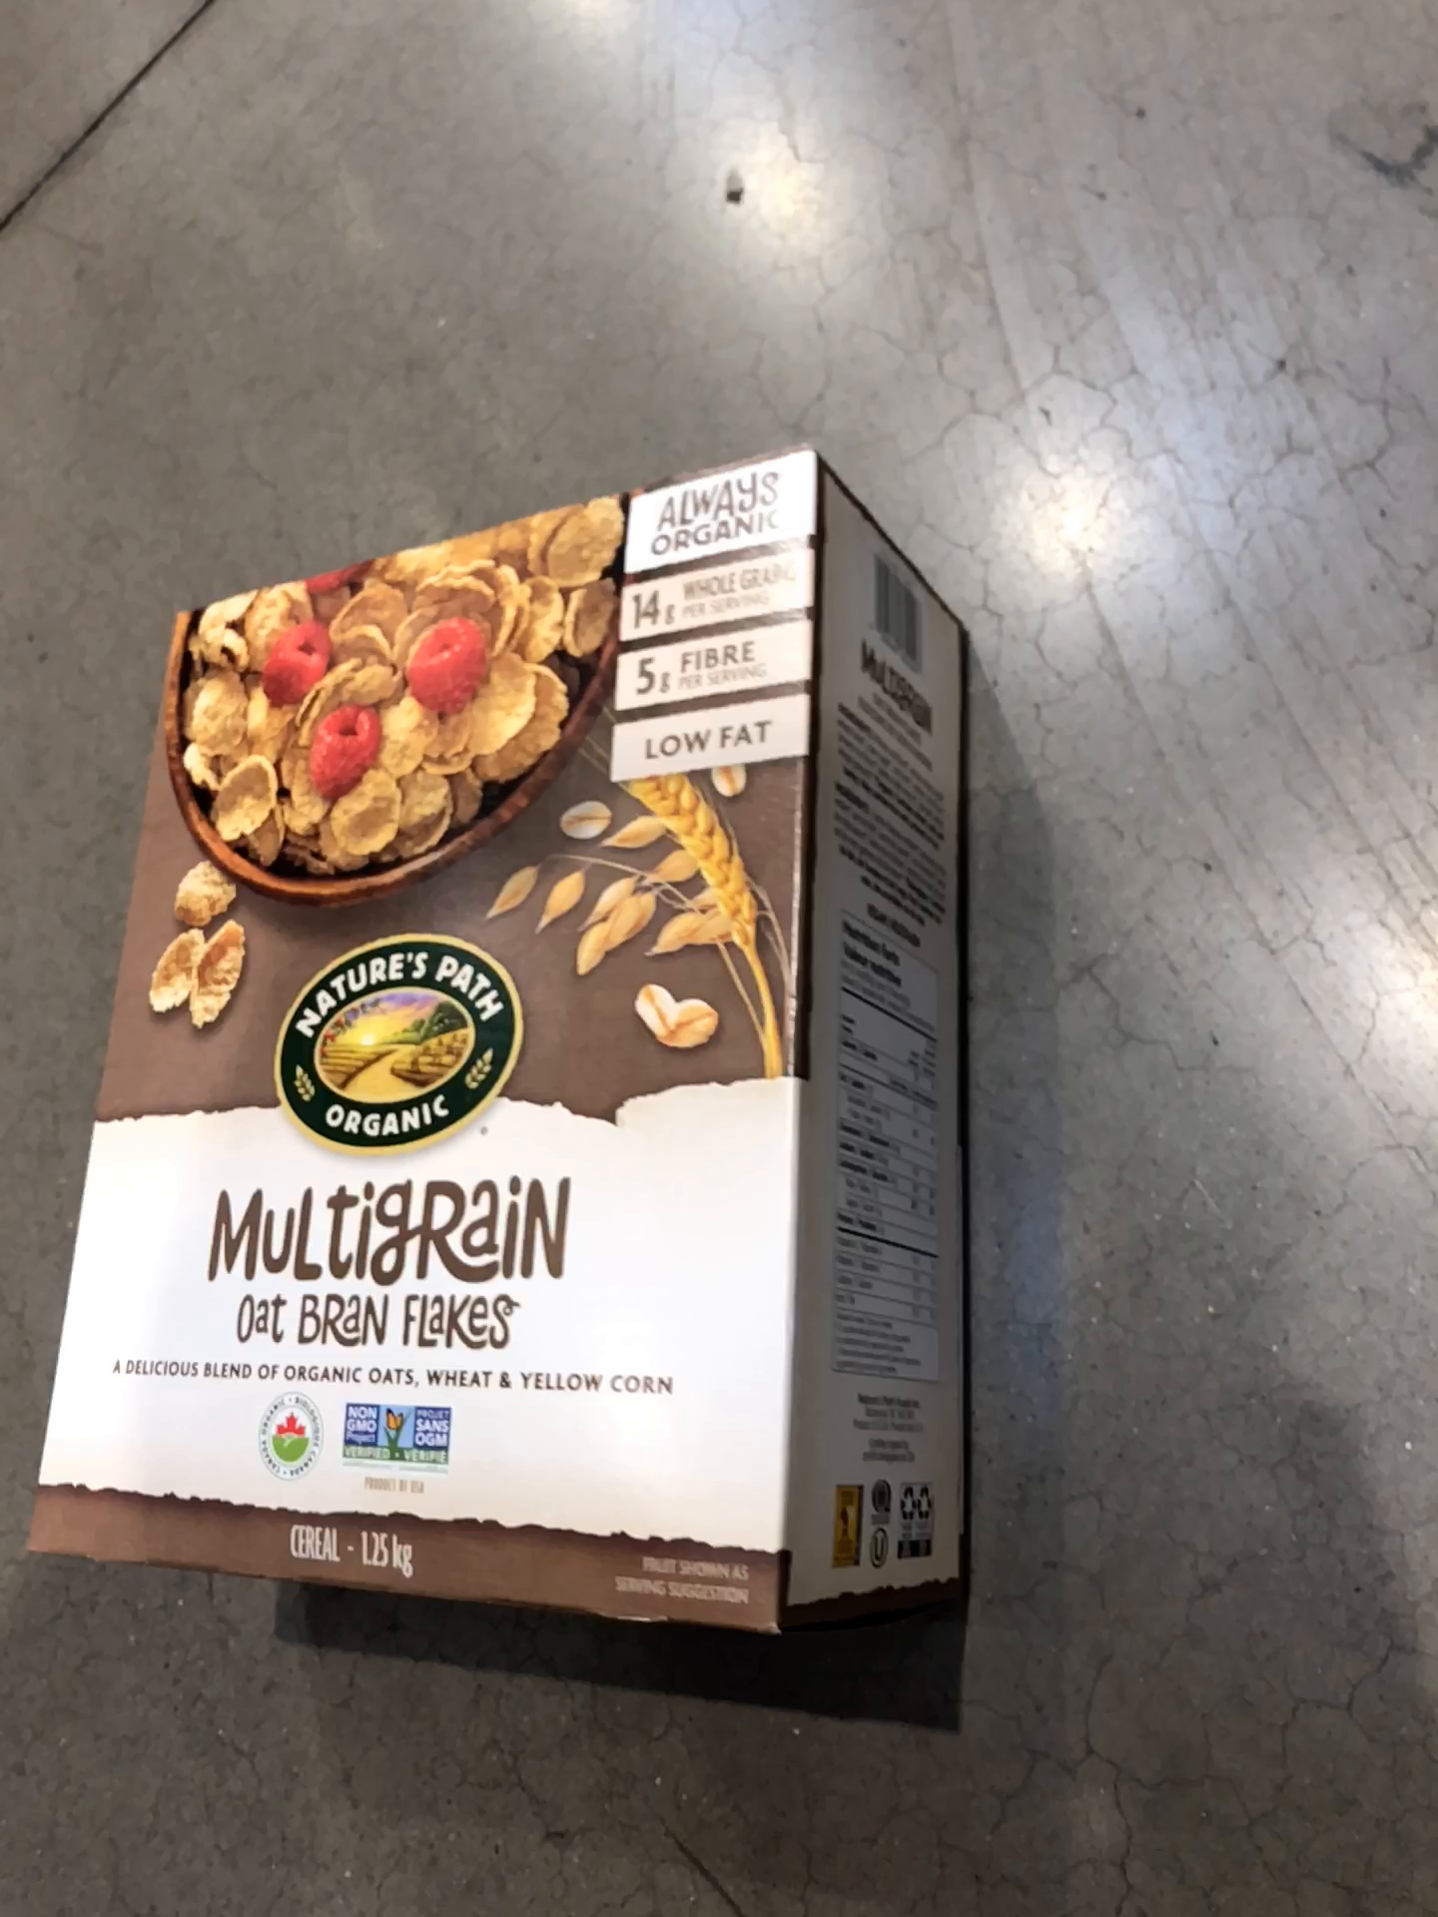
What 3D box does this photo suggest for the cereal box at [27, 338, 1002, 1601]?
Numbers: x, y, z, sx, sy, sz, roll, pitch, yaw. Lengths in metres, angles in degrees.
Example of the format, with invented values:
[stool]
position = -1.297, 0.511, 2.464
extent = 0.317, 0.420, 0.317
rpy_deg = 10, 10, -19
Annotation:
[cereal box]
position = -0.052, 0.013, 0.476
extent = 0.241, 0.110, 0.310
rpy_deg = -7, 70, 28
